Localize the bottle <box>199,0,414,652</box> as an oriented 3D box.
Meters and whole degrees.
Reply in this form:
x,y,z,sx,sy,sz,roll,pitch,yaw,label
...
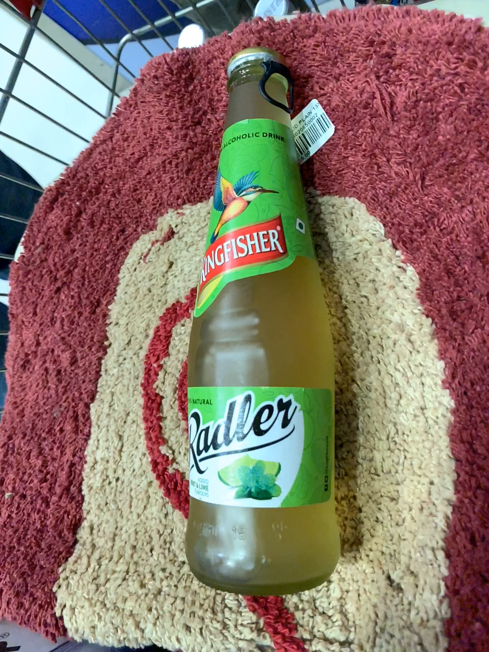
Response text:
x,y,z,sx,sy,sz,roll,pitch,yaw,label
0.027,-0.016,0.204,0.060,0.060,0.240,-4,80,30,bottle
